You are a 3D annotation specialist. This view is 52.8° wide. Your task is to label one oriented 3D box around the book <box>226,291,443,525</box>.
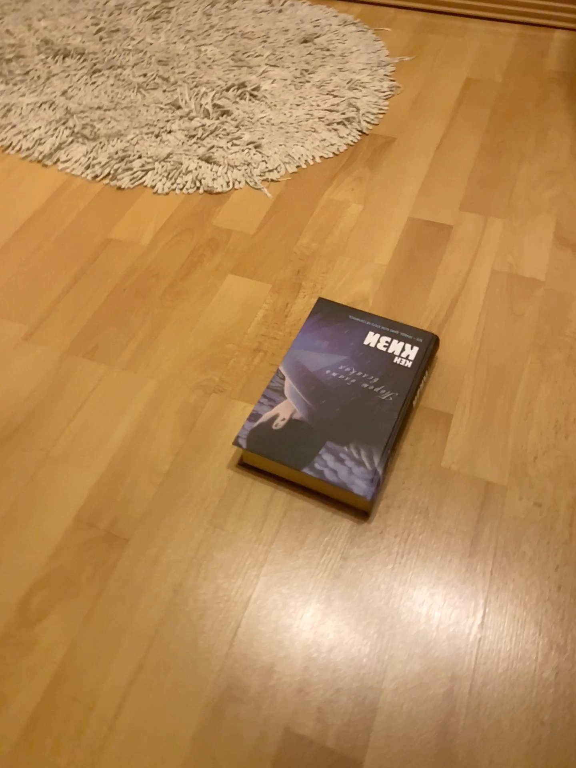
[{"bbox_3d":[0.056,0.014,0.621,0.150,0.050,0.225,20,57,15],"label":"book"}]
